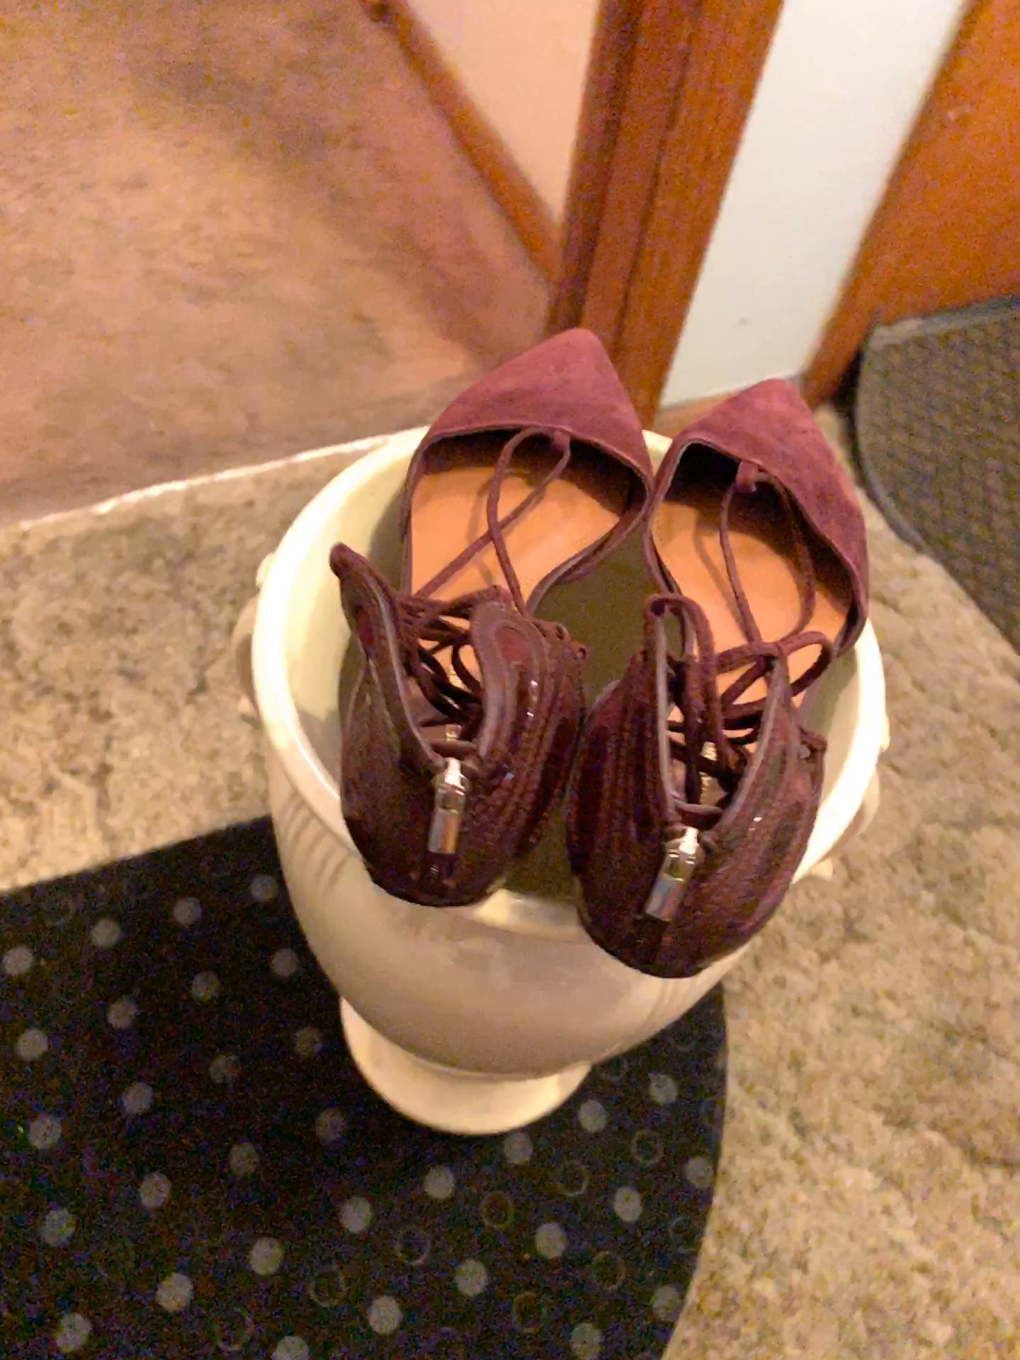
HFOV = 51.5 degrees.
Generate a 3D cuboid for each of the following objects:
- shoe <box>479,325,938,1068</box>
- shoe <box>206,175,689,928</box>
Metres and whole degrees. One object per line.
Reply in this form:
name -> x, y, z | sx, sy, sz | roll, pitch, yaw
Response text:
shoe -> 0.078, -0.025, 0.358 | 0.090, 0.069, 0.282 | 19, 40, 4
shoe -> -0.002, -0.068, 0.349 | 0.090, 0.069, 0.282 | 13, 46, 1
